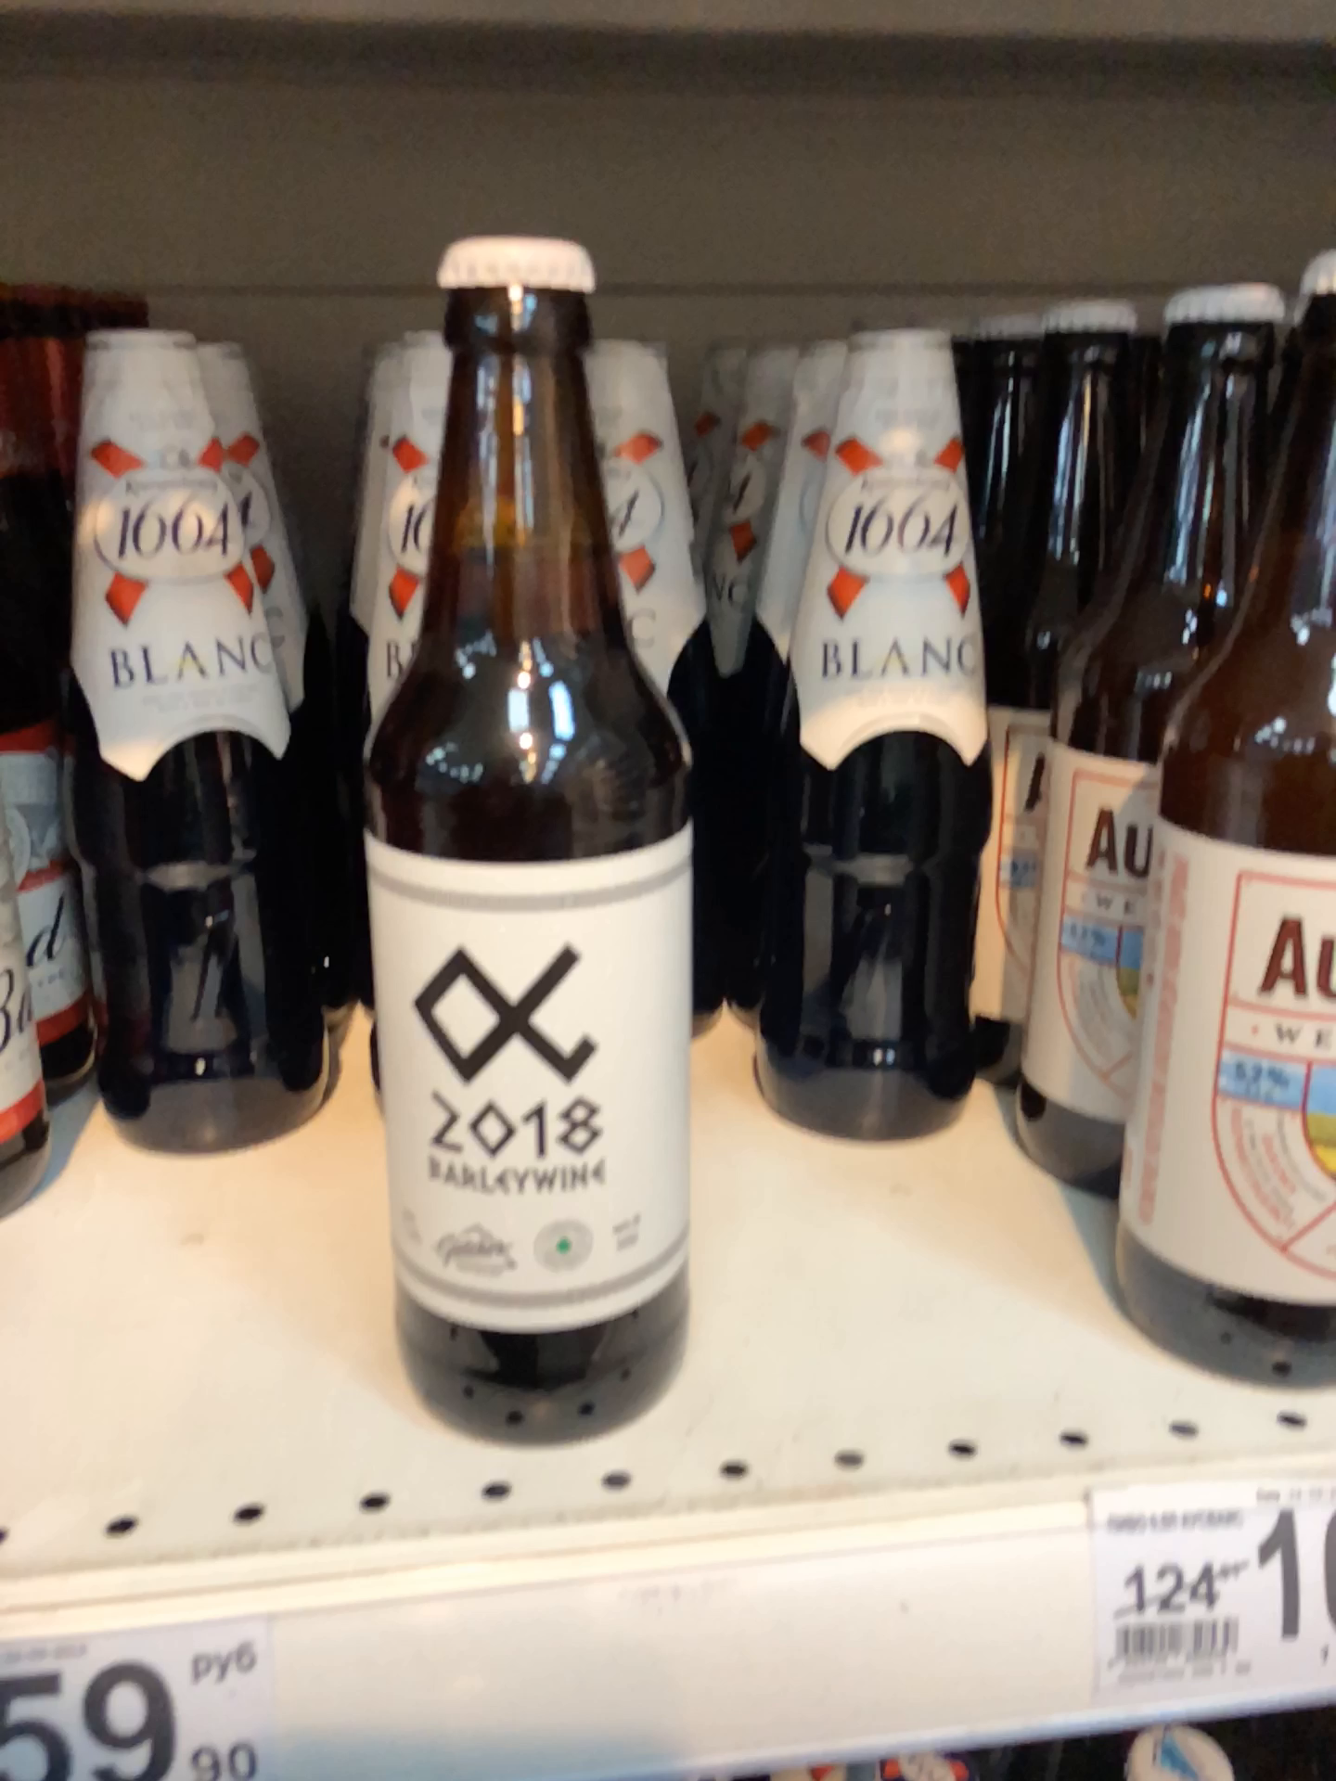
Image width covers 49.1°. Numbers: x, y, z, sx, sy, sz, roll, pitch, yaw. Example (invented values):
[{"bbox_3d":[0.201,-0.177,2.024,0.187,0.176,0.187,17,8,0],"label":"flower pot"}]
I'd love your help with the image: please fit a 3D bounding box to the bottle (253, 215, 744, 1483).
[{"bbox_3d":[-0.027,-0.002,0.311,0.080,0.252,0.070,0,19,1],"label":"bottle"}]
